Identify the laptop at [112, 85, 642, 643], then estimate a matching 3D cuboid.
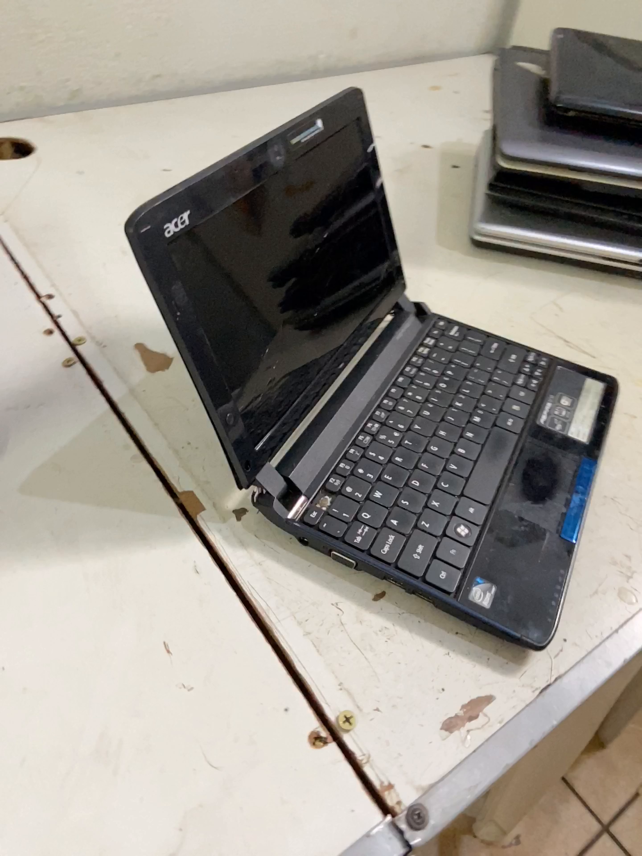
[{"bbox_3d":[0.068,-0.068,0.407,0.259,0.144,0.254,24,46,14],"label":"laptop"}]
